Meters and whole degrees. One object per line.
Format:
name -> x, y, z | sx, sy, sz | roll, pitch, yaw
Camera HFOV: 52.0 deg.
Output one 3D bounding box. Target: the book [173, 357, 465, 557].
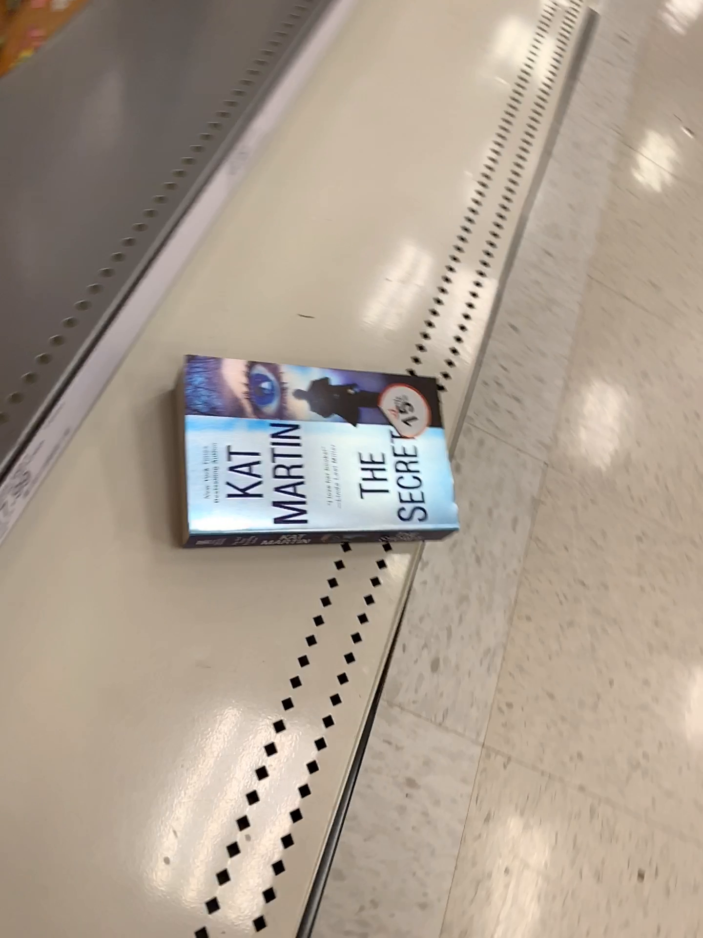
book -> -0.020, -0.006, 0.439 | 0.164, 0.040, 0.105 | 1, 71, -23
